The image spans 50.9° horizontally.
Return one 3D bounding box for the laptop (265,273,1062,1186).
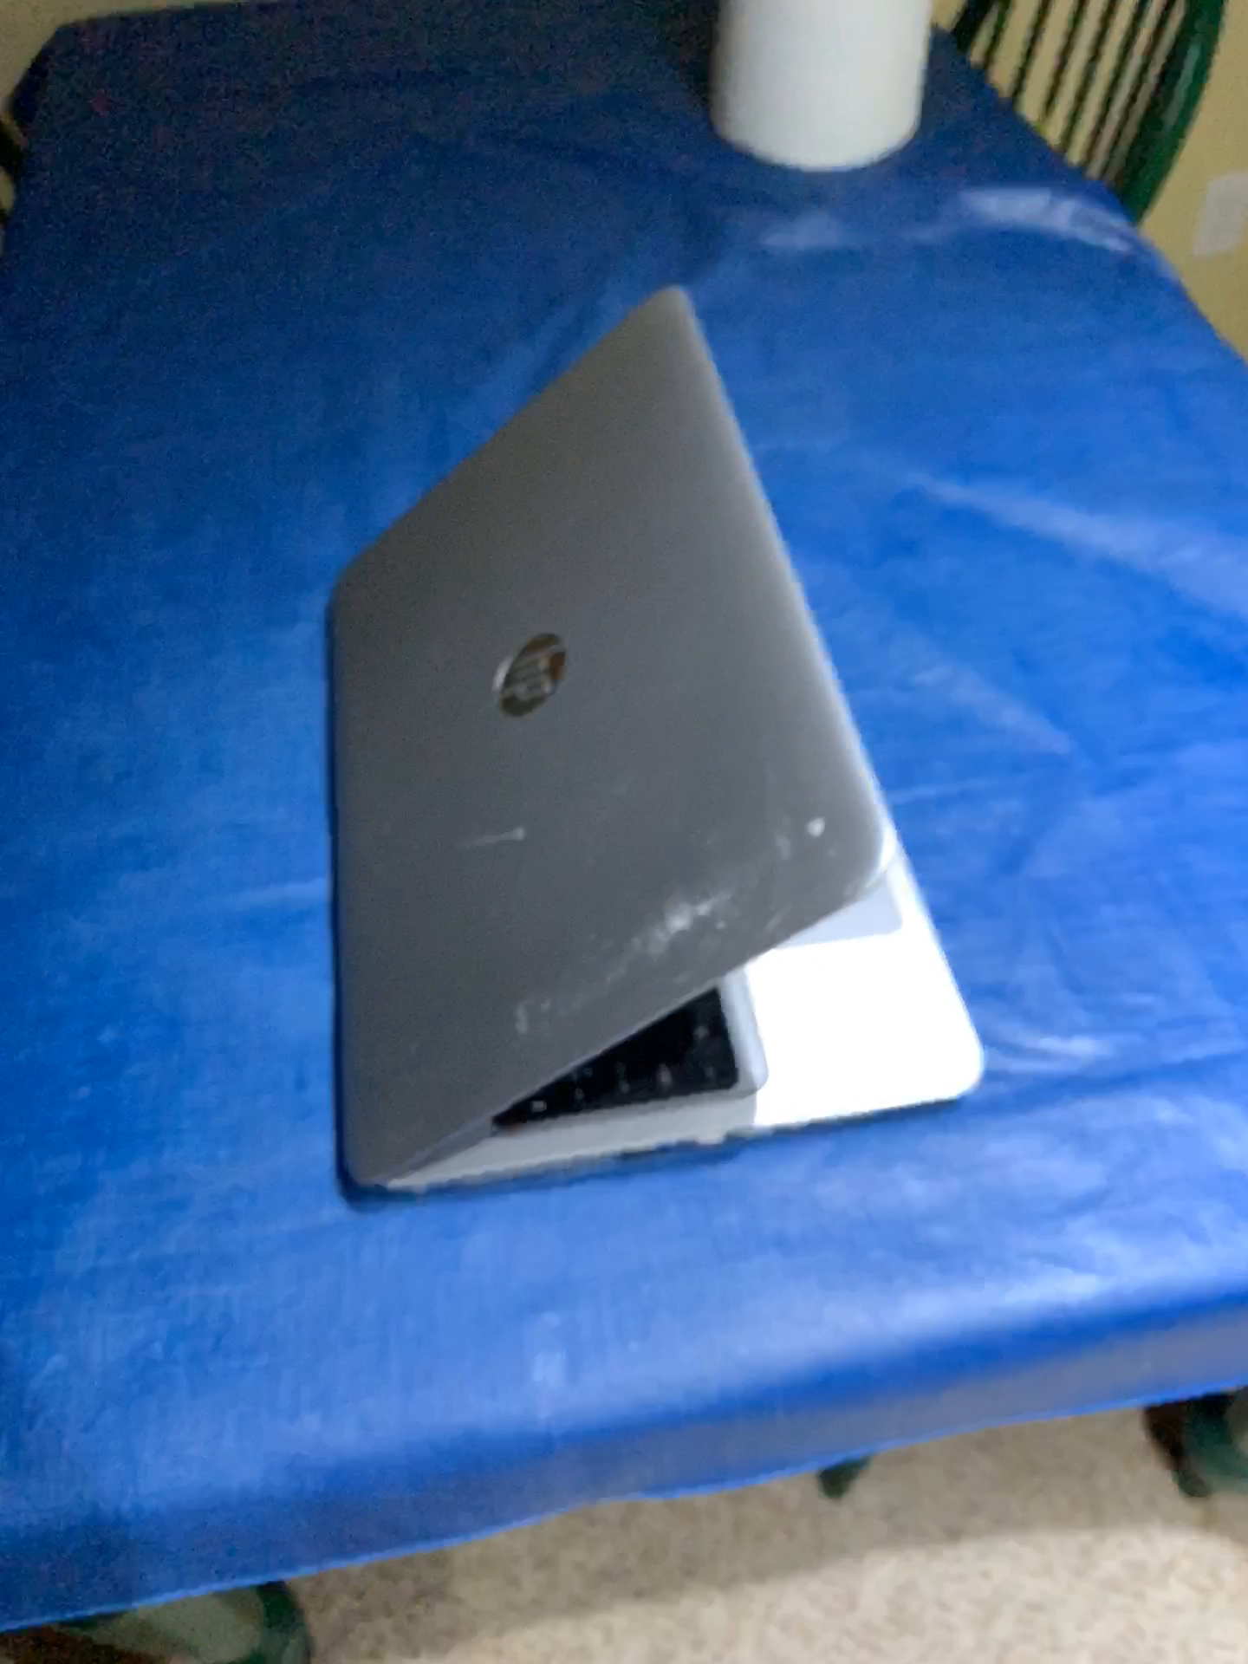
[{"bbox_3d":[-0.010,-0.069,0.584,0.253,0.156,0.368,-8,51,-5],"label":"laptop"}]
